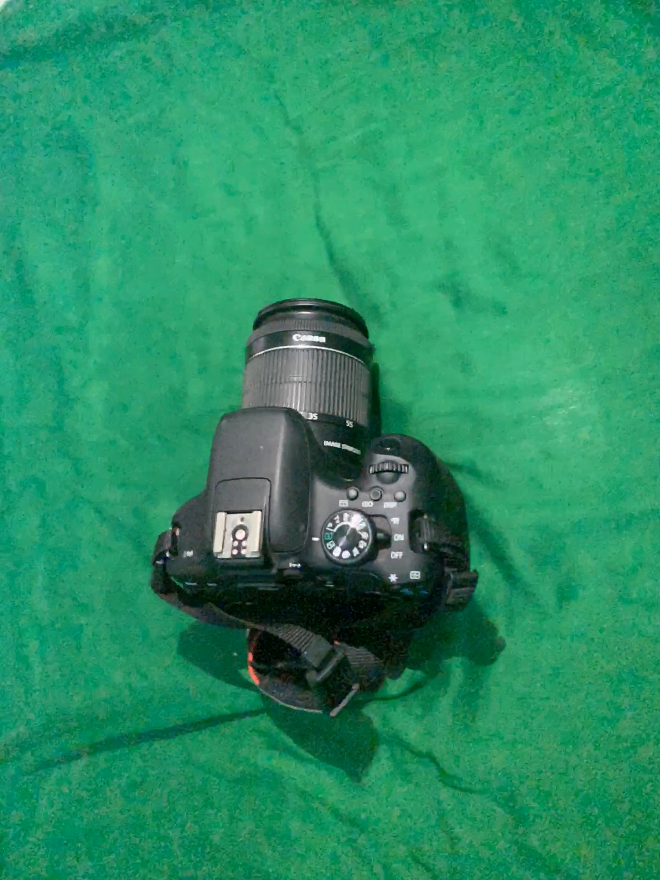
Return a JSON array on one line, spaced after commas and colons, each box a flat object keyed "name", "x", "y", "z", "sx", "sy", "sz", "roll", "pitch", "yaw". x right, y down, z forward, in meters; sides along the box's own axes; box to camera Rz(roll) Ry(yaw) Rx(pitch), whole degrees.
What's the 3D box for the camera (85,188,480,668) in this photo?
[{"name": "camera", "x": -0.023, "y": 0.008, "z": 0.338, "sx": 0.152, "sy": 0.100, "sz": 0.190, "roll": -10, "pitch": 73, "yaw": 24}]
